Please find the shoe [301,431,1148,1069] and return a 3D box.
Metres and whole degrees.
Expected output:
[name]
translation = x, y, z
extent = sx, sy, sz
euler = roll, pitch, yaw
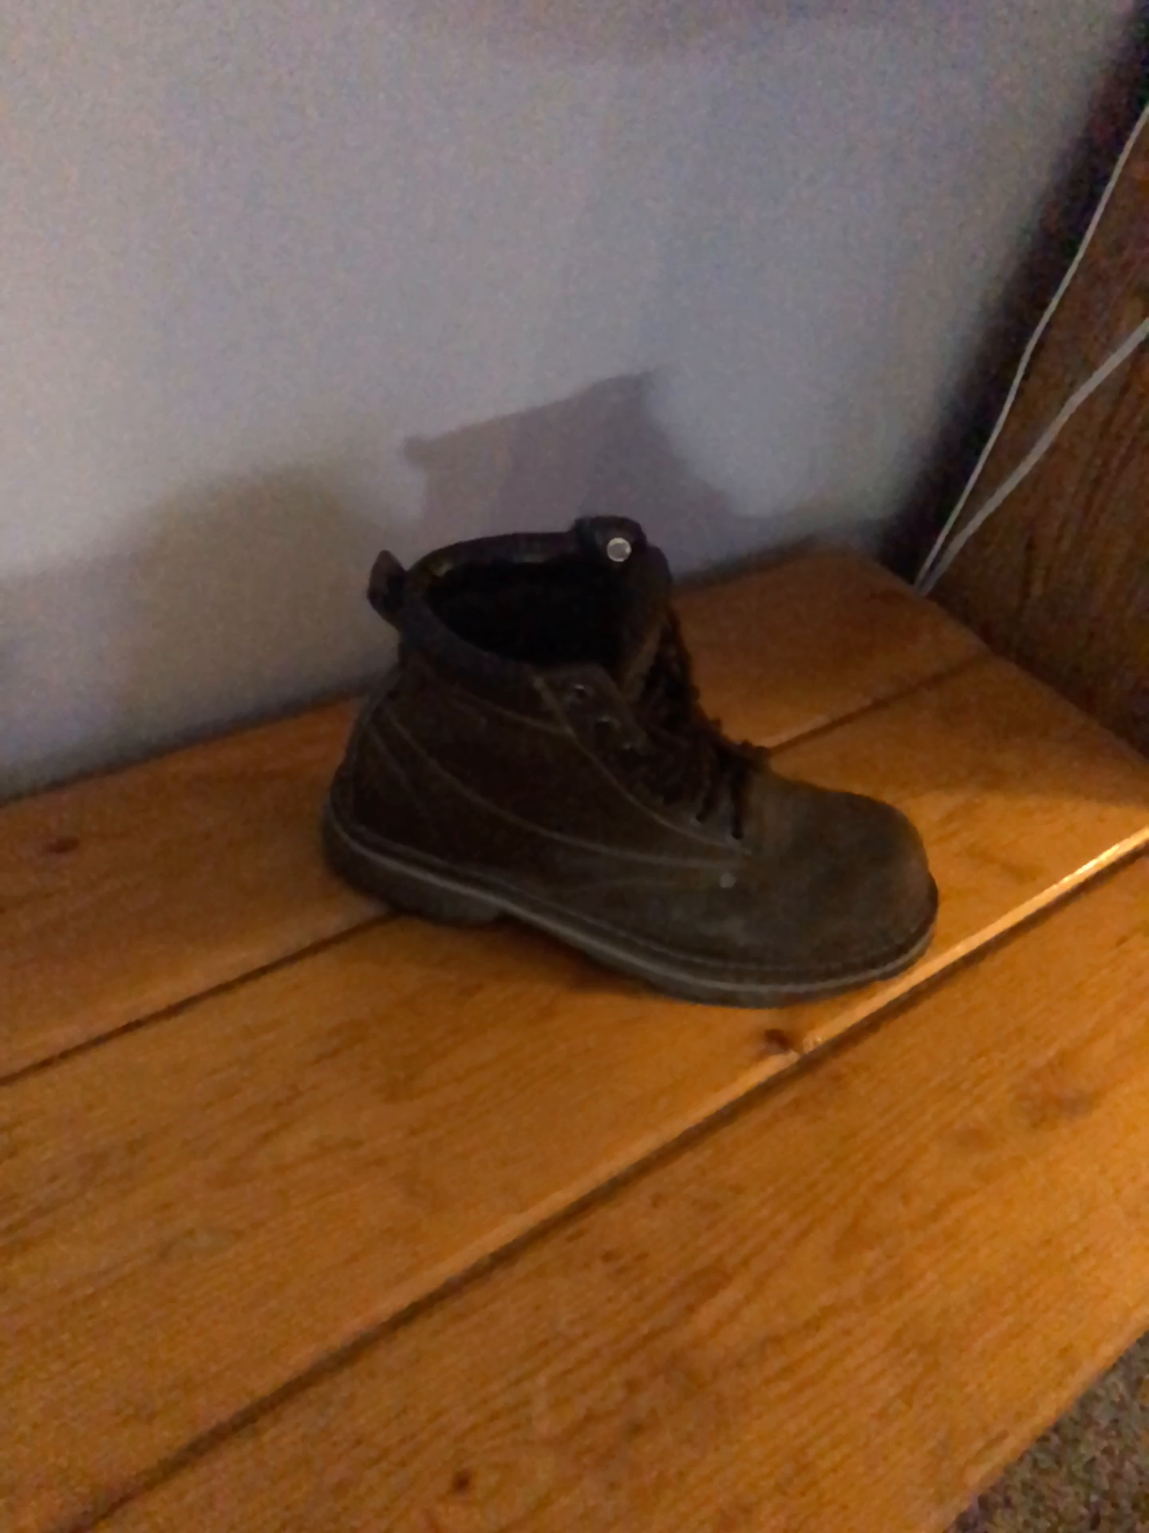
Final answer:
[shoe]
translation = 0.054, -0.003, 0.578
extent = 0.320, 0.189, 0.130
euler = 13, 41, -2
